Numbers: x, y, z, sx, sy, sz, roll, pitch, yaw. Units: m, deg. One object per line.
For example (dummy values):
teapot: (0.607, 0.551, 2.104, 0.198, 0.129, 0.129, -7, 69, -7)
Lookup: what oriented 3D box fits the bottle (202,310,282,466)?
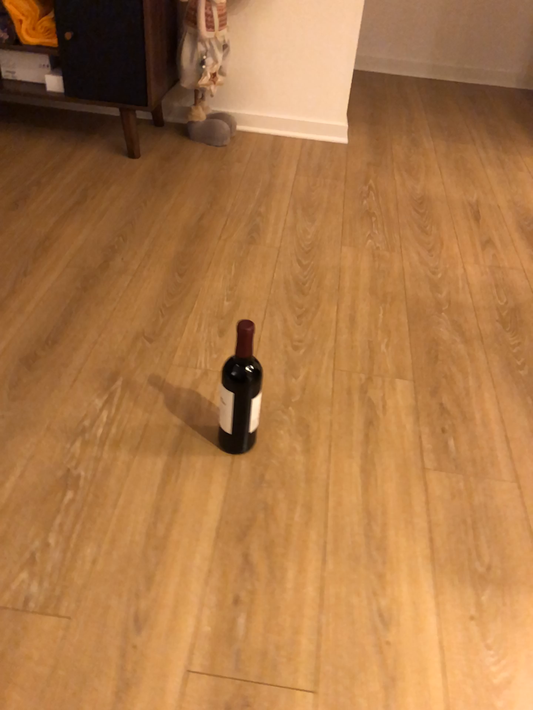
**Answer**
bottle: (-0.049, 0.065, 1.087, 0.100, 0.258, 0.111, 17, 41, 14)
